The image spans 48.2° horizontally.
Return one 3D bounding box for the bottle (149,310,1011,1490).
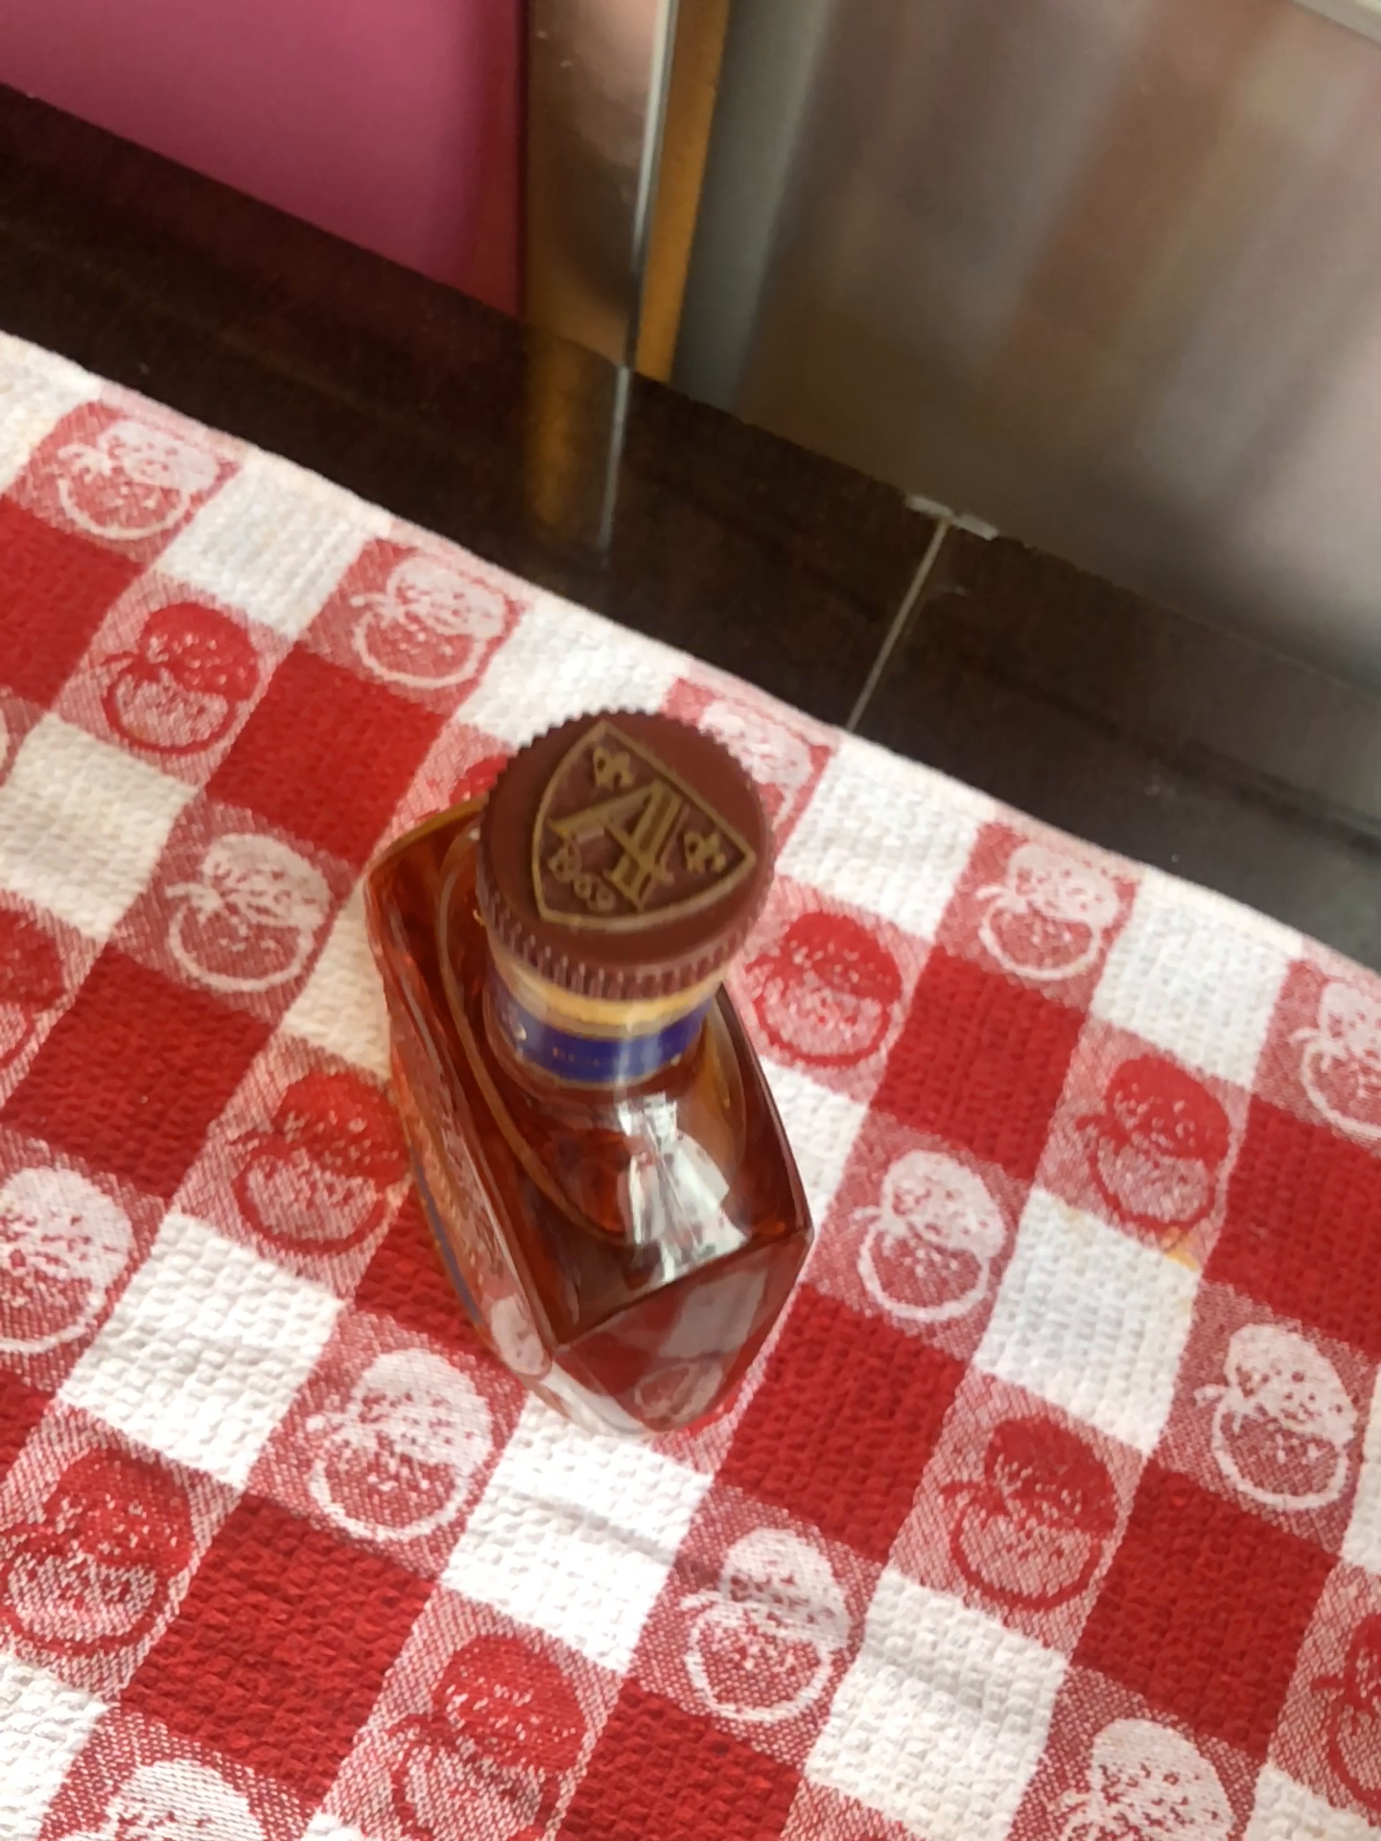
[{"bbox_3d":[-0.026,0.027,0.250,0.050,0.220,0.110,-17,73,-13],"label":"bottle"}]
